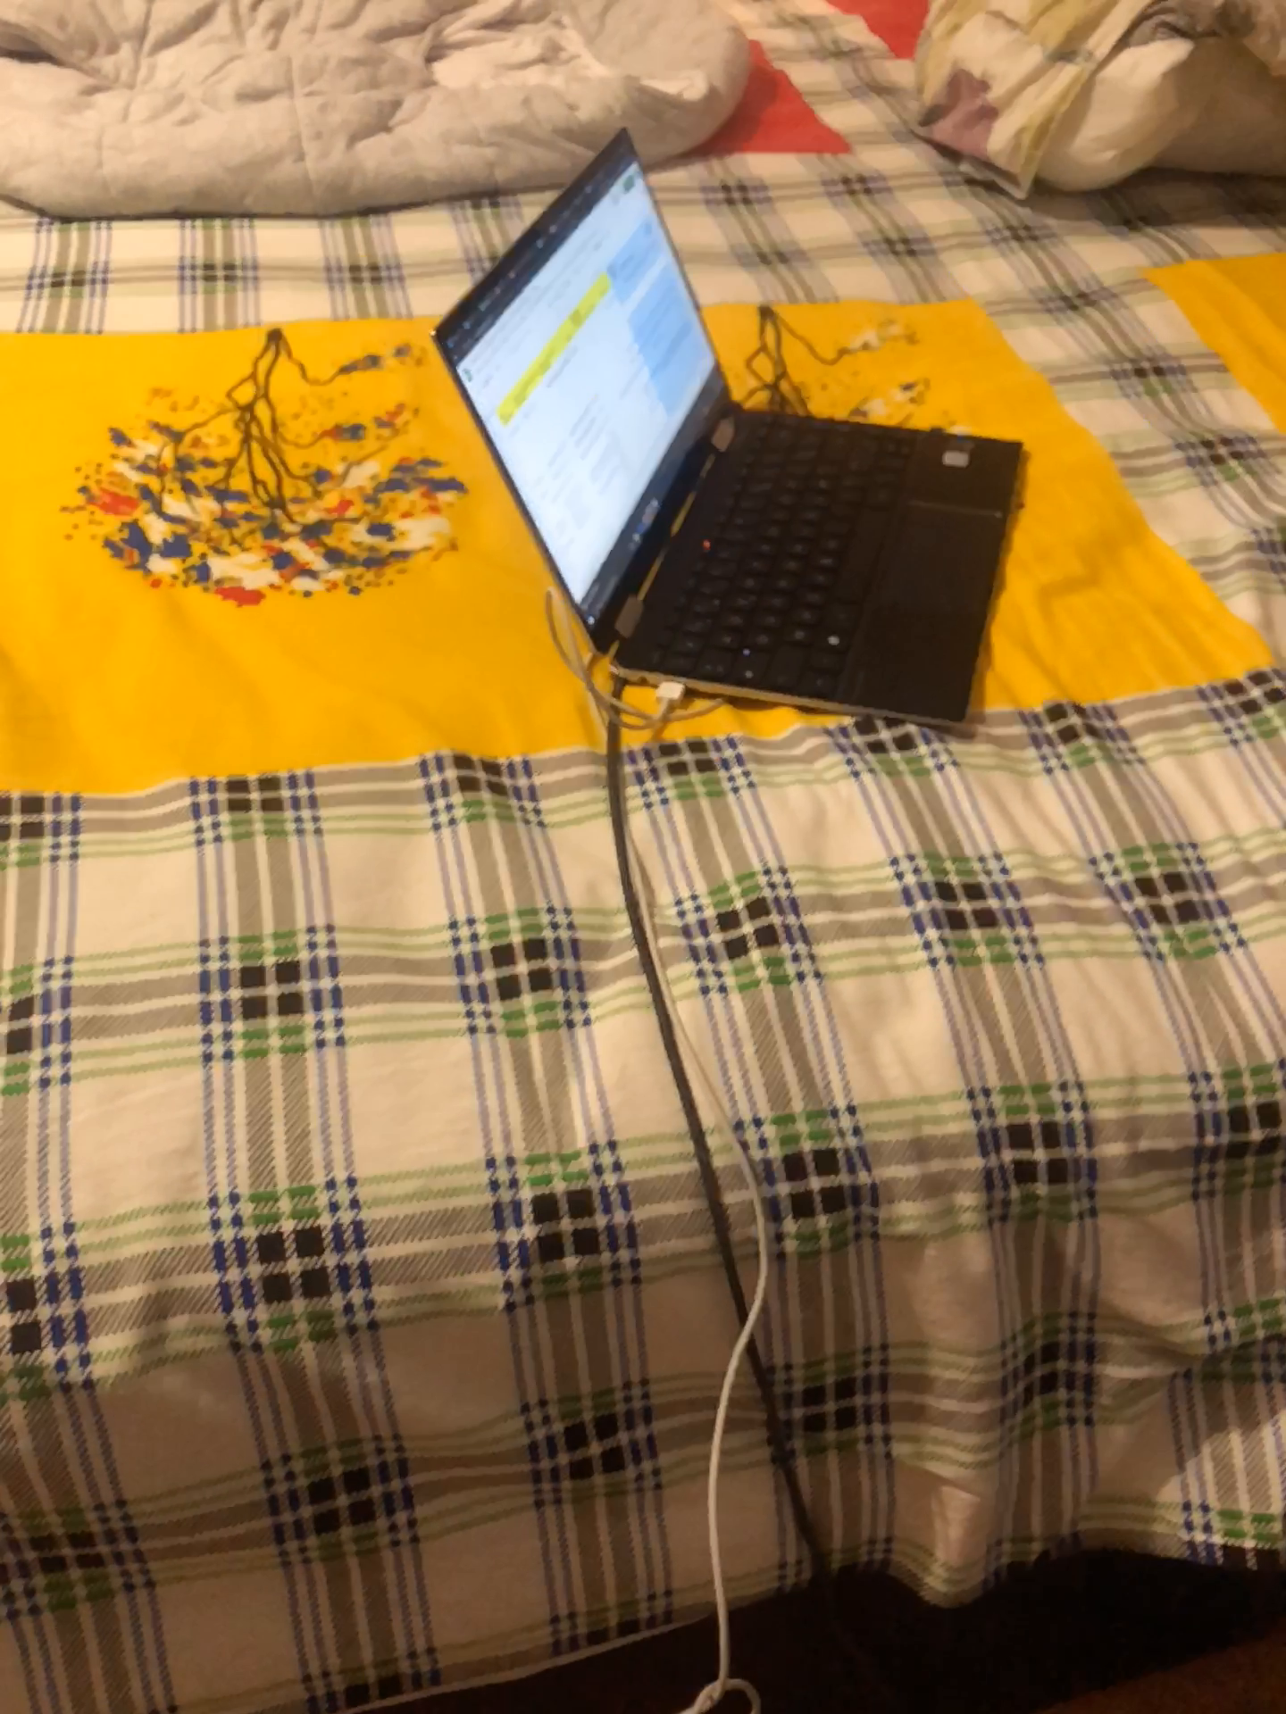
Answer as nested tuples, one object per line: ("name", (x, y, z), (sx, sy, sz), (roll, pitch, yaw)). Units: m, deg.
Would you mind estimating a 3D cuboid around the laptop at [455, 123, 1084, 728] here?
("laptop", (0.075, -0.242, 0.753), (0.253, 0.158, 0.275), (13, 48, 12))
